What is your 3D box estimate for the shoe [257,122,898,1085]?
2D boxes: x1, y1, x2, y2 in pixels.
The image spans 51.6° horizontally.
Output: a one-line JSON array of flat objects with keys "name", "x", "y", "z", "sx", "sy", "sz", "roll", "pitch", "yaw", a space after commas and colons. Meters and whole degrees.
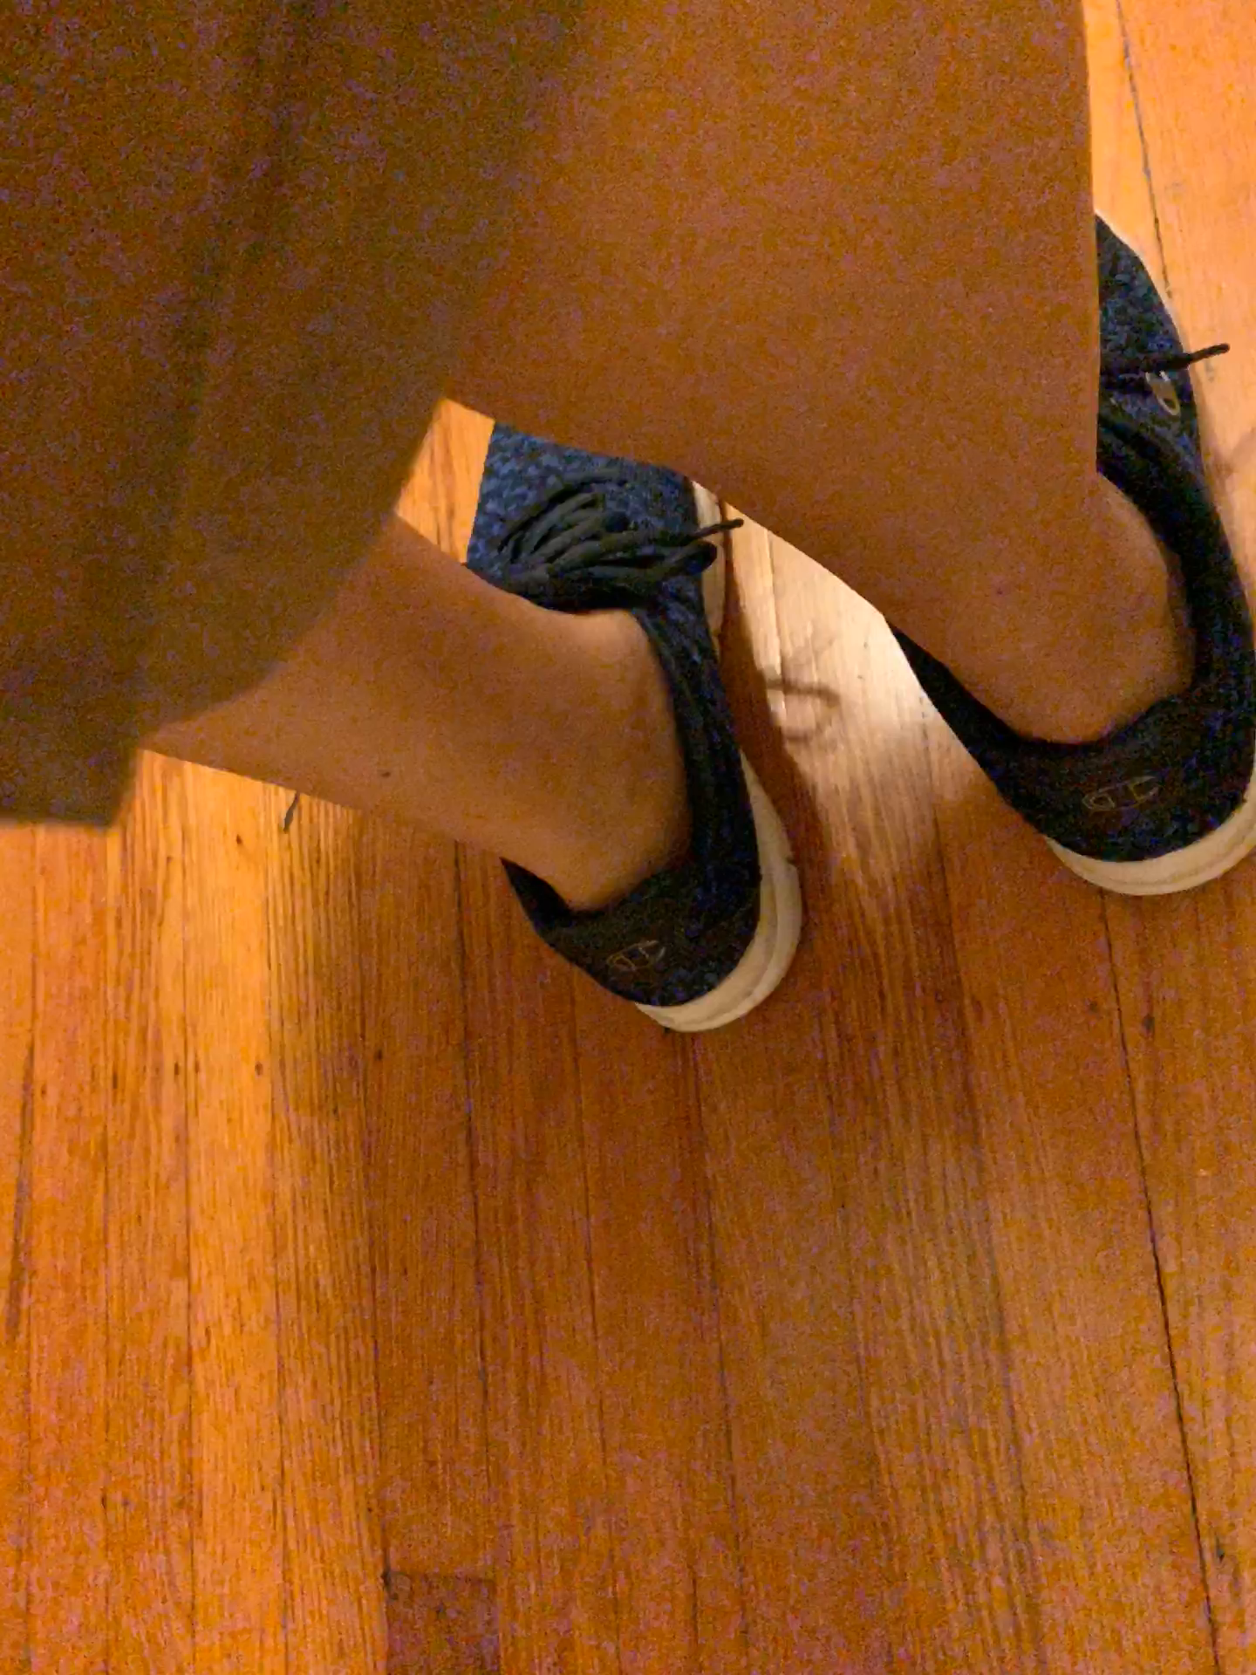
[{"name": "shoe", "x": -0.017, "y": -0.069, "z": 0.474, "sx": 0.116, "sy": 0.149, "sz": 0.290, "roll": -21, "pitch": 73, "yaw": 22}]

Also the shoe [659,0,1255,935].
[{"name": "shoe", "x": 0.126, "y": -0.126, "z": 0.402, "sx": 0.118, "sy": 0.129, "sz": 0.280, "roll": -23, "pitch": 72, "yaw": 21}]
